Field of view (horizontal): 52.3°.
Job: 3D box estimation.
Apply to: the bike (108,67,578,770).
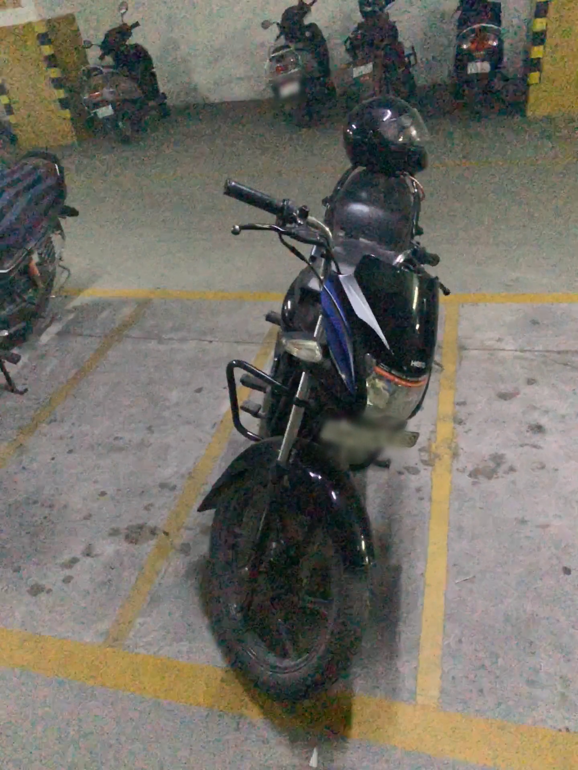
[{"bbox_3d":[0.264,-0.087,1.803,0.767,1.156,1.725,-1,38,11],"label":"bike"}]
